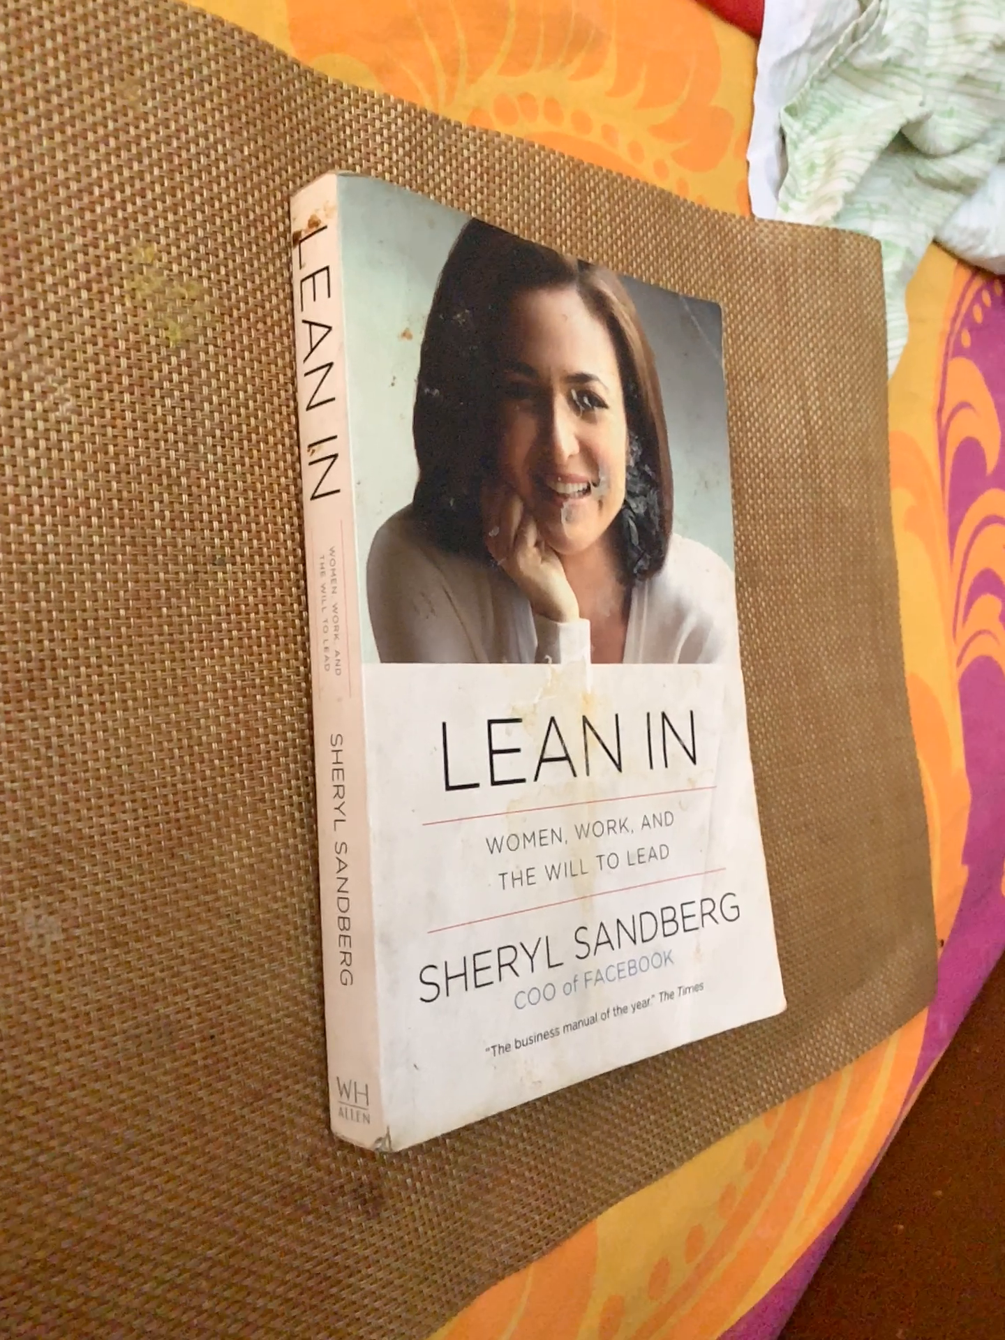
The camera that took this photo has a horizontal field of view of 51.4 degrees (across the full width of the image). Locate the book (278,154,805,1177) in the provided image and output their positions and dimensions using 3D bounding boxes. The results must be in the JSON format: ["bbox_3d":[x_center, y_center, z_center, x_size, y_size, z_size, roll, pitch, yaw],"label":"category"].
[{"bbox_3d":[0.017,-0.004,0.271,0.141,0.026,0.212,1,83,-41],"label":"book"}]
